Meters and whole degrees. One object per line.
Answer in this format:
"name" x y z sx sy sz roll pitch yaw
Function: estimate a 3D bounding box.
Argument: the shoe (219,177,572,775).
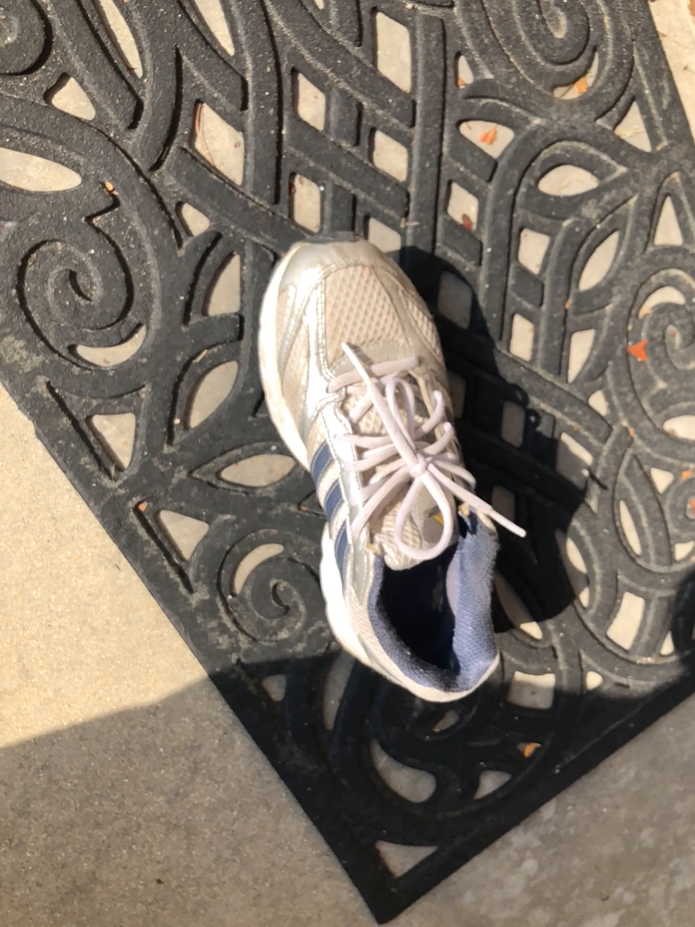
"shoe" 0.022 0.002 0.414 0.100 0.130 0.261 -17 106 -14
